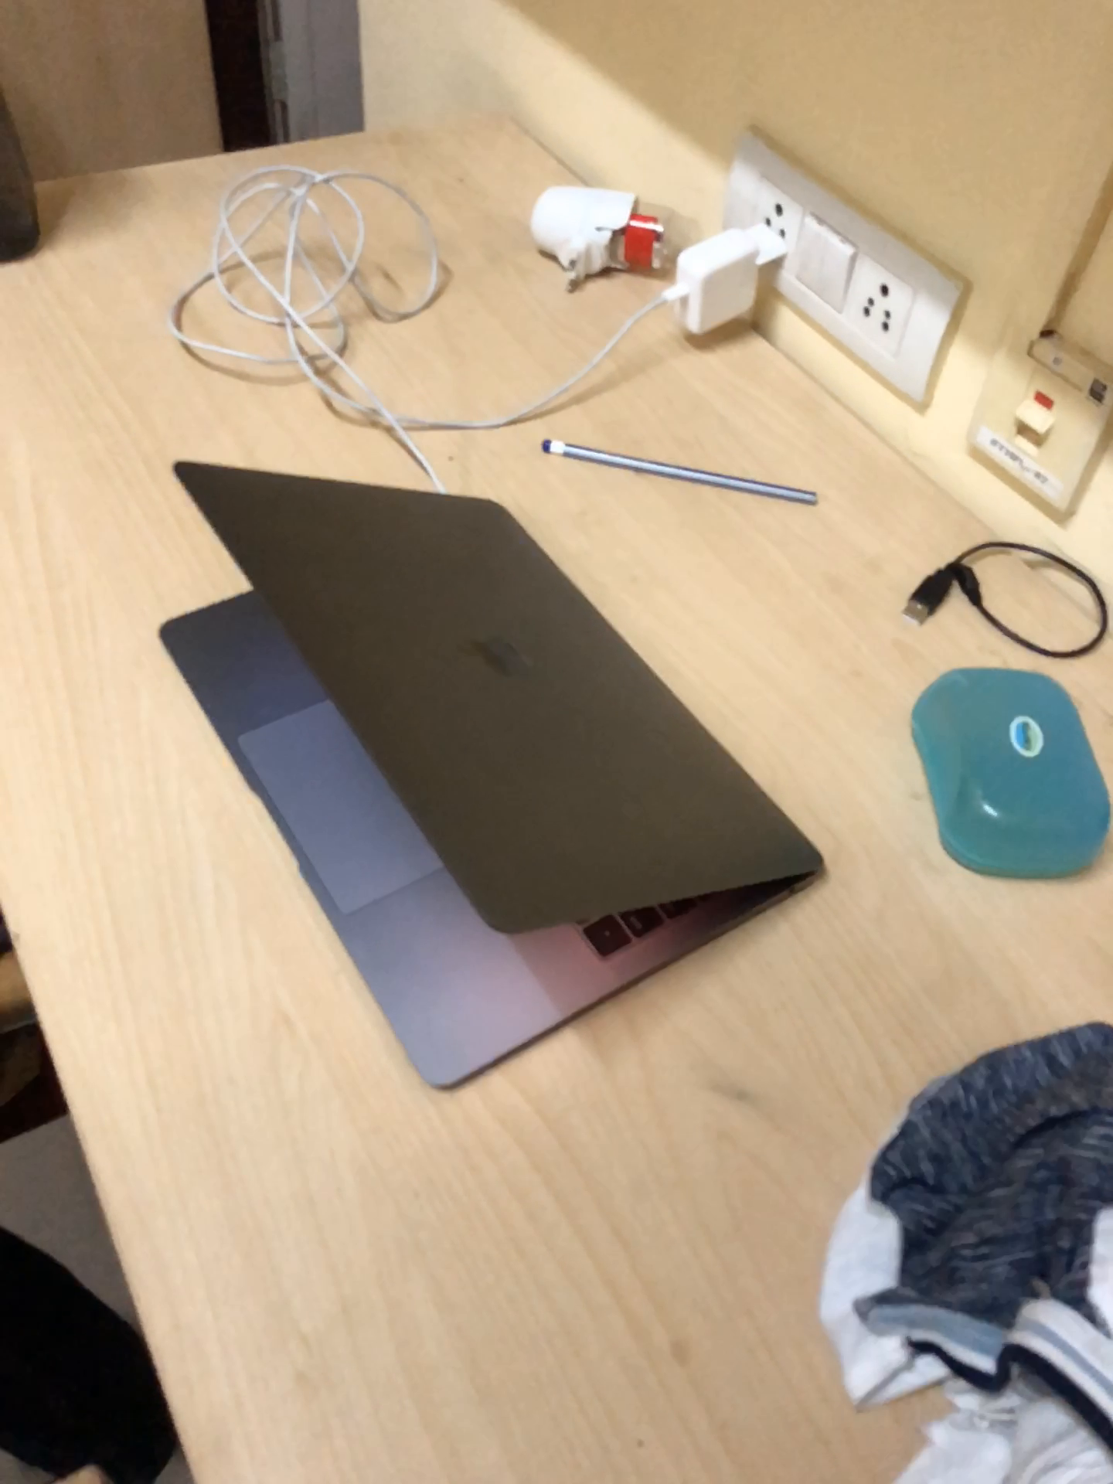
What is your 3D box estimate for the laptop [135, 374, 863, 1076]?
[{"bbox_3d":[-0.041,-0.030,0.565,0.193,0.094,0.295,-24,56,-23],"label":"laptop"}]
